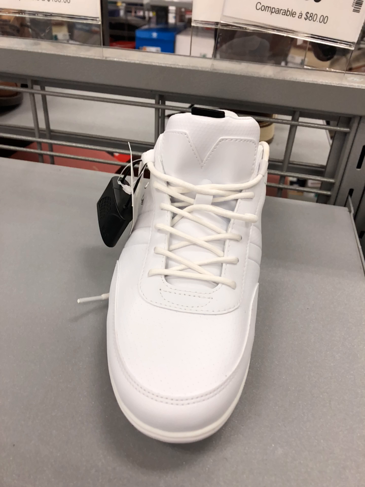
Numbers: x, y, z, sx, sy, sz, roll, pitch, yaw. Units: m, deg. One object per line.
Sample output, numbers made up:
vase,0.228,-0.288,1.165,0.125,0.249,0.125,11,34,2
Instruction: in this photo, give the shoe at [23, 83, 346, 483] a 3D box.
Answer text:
shoe,0.011,-0.013,0.282,0.110,0.119,0.272,7,34,4
